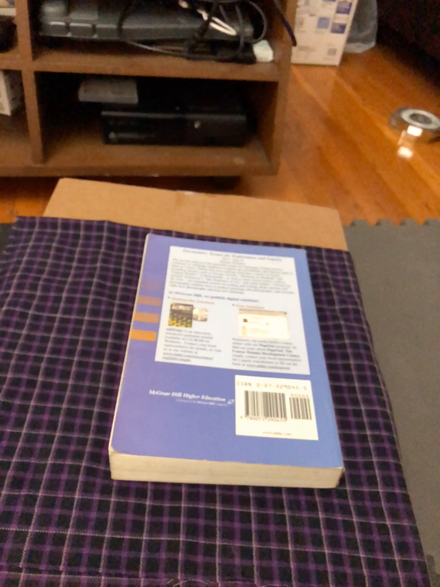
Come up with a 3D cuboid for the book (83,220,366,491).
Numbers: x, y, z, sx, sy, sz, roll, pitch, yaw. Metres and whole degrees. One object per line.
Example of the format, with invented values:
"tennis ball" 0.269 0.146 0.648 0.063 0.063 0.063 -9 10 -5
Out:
"book" 0.001 0.034 0.410 0.180 0.040 0.241 4 44 -5
